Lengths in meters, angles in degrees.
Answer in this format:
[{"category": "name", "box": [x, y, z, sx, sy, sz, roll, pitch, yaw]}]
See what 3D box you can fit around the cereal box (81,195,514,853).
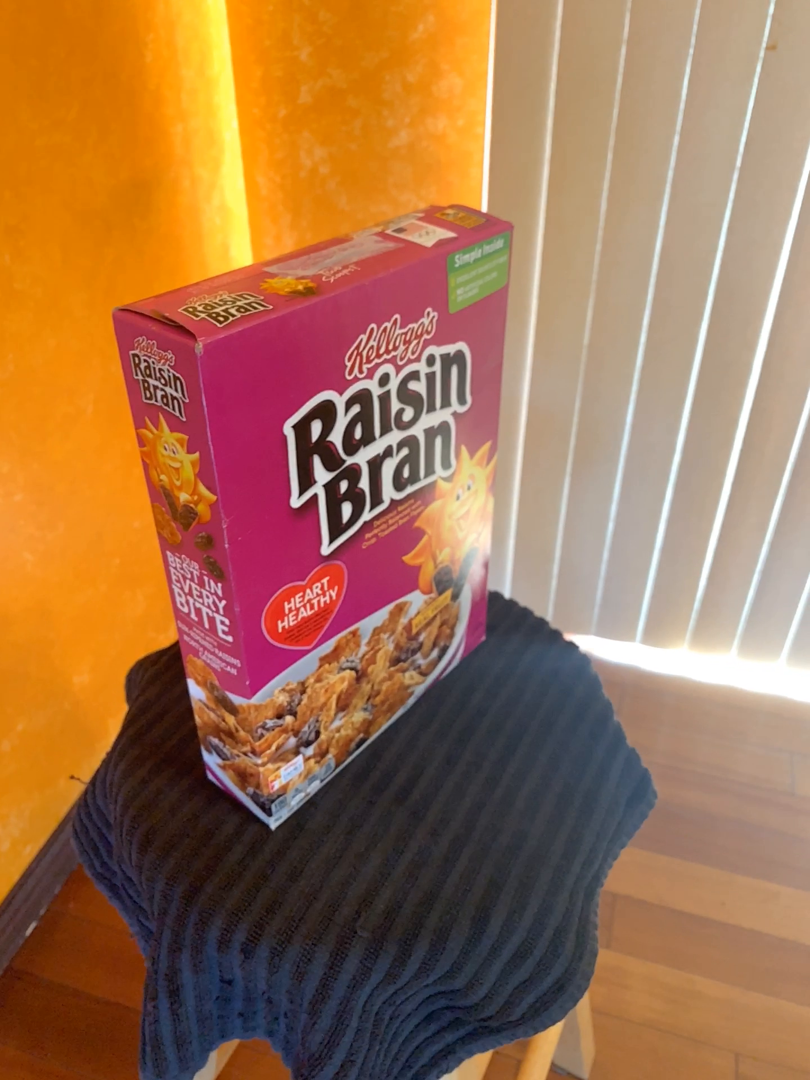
[{"category": "cereal box", "box": [-0.035, -0.006, 0.444, 0.060, 0.288, 0.201, 26, 43, 31]}]
